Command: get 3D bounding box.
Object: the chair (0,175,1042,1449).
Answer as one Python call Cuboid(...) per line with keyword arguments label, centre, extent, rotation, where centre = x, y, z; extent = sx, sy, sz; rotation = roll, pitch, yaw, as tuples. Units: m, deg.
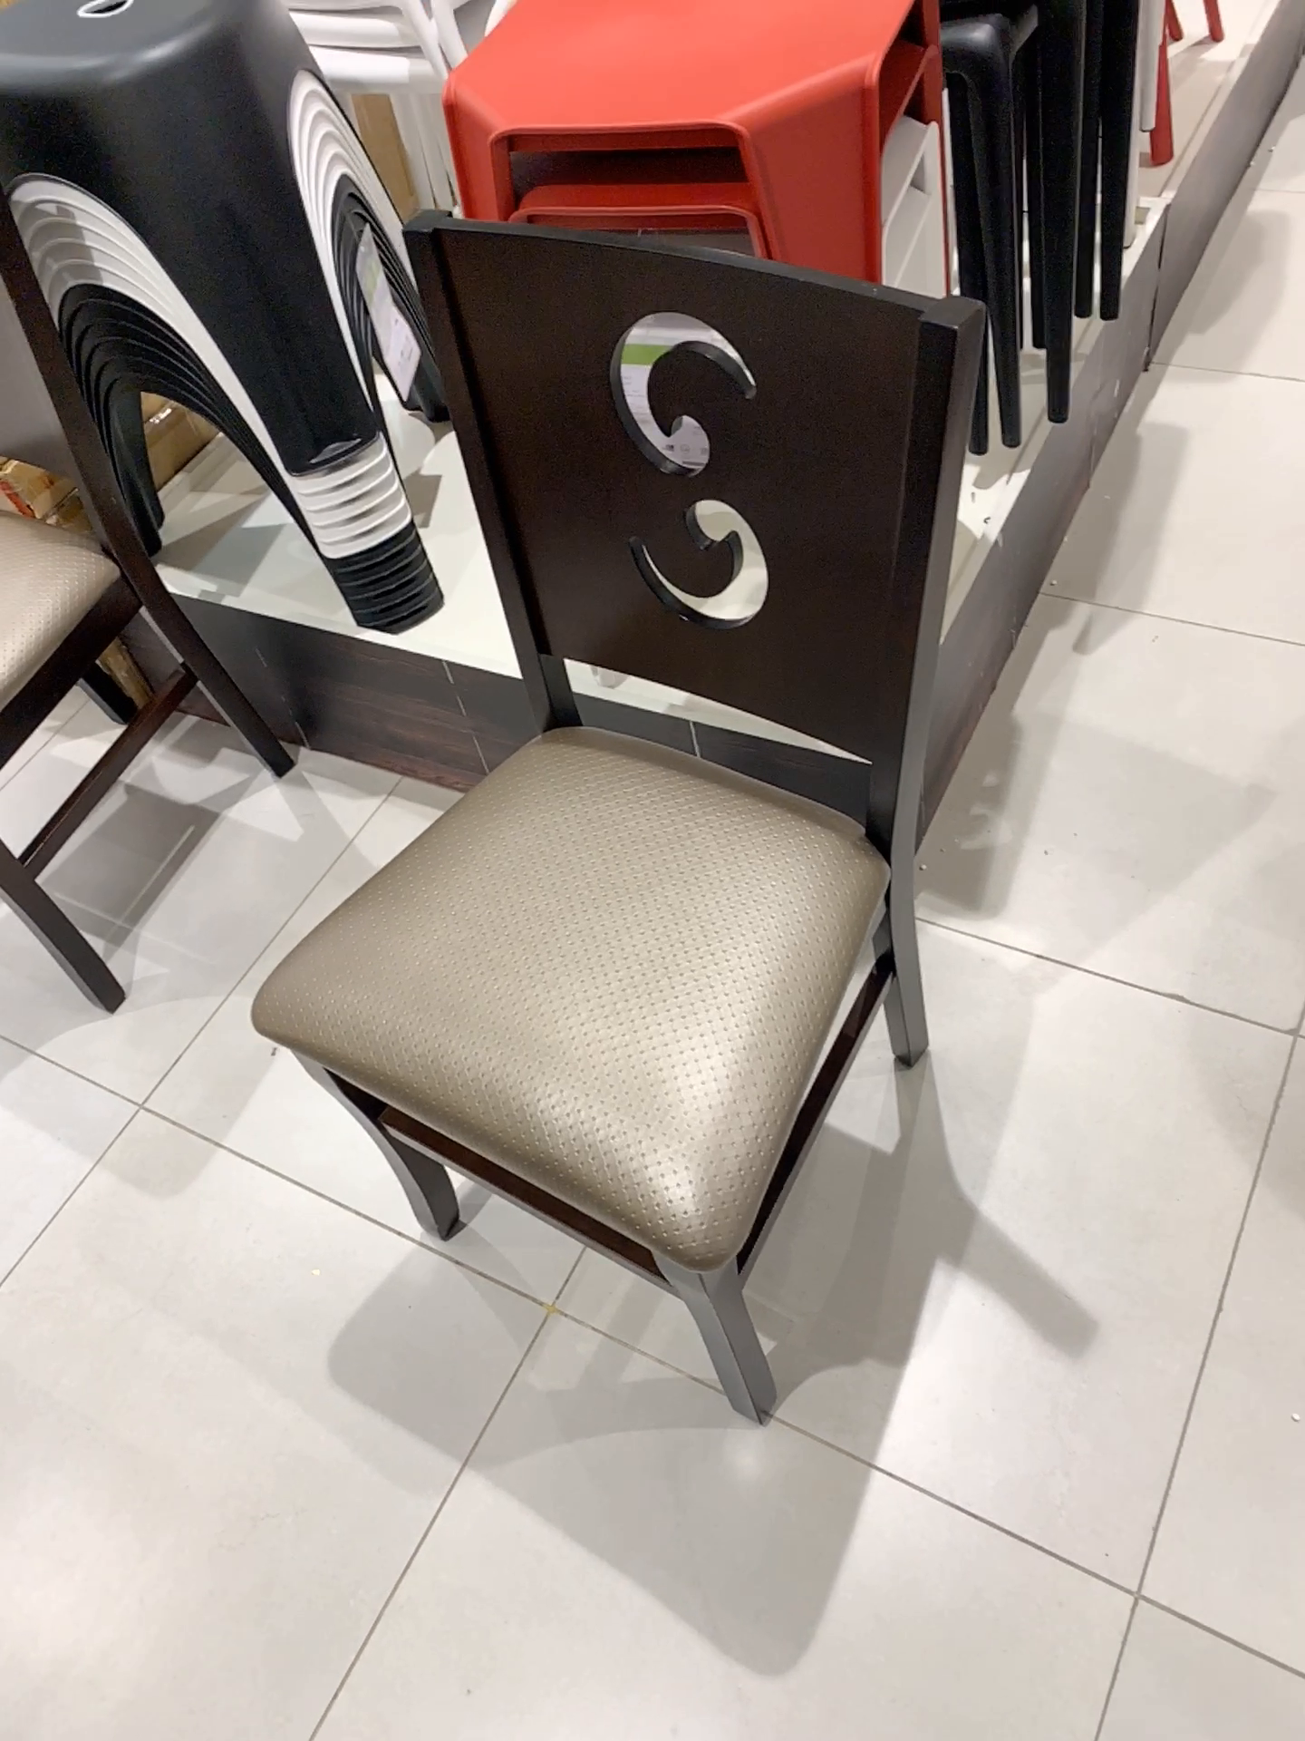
Cuboid(label="chair", centre=(-0.042, -0.003, 1.111), extent=(0.501, 0.847, 0.521), rotation=(20, 58, 25))
